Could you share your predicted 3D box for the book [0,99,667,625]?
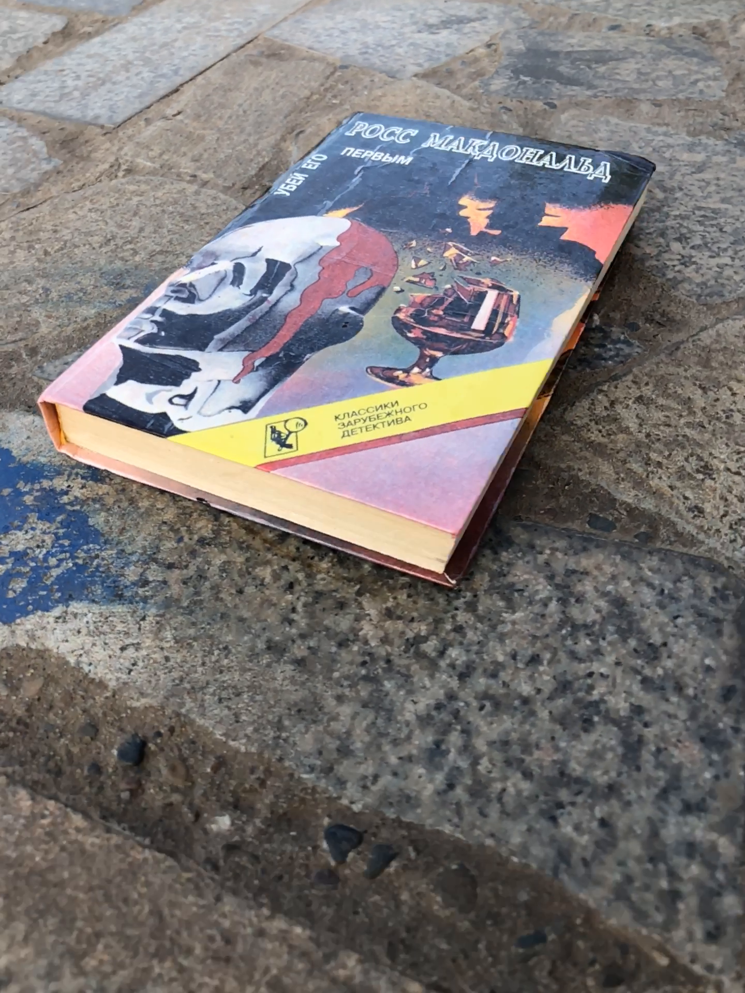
[{"bbox_3d":[0.003,-0.070,0.282,0.140,0.030,0.211,18,51,19],"label":"book"}]
